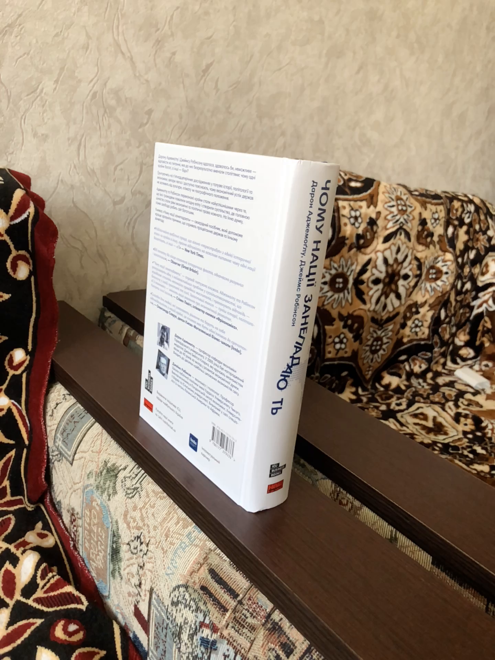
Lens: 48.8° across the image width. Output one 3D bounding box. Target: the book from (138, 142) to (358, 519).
[{"bbox_3d":[-0.014,-0.010,0.373,0.042,0.212,0.151,-7,22,-39],"label":"book"}]
